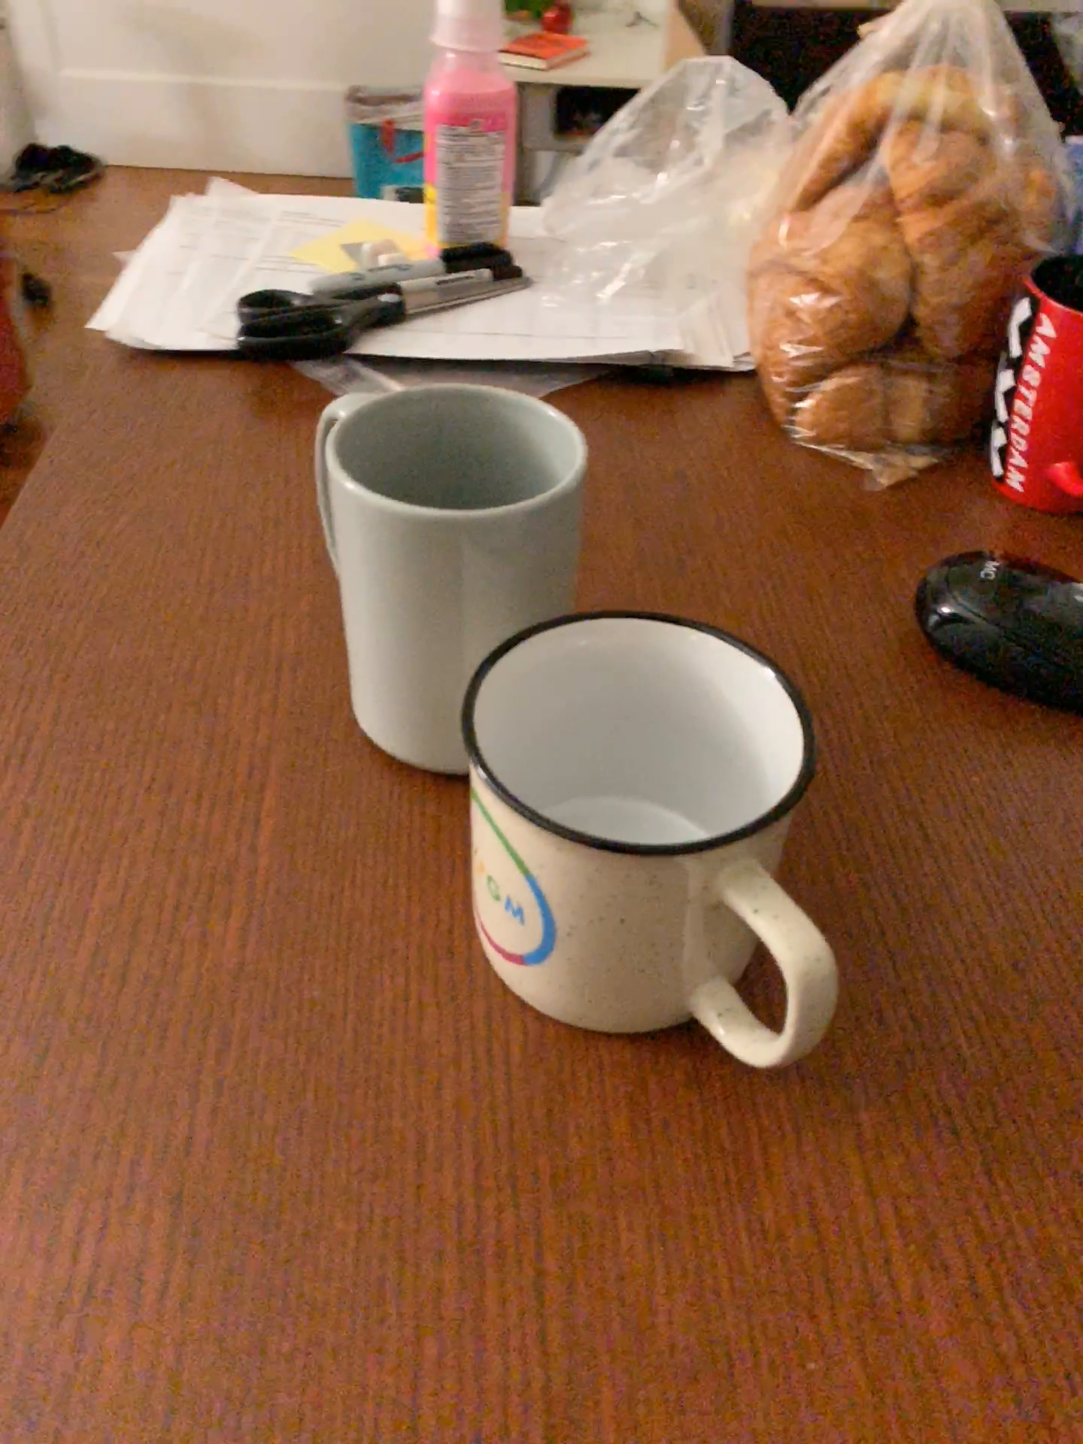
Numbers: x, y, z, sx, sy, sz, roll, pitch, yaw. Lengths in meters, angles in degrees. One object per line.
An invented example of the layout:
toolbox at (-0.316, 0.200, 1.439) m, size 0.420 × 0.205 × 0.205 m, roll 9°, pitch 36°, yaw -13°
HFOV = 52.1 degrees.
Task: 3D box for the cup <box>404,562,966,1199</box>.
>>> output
cup at (0.028, 0.039, 0.323) m, size 0.100 × 0.099 × 0.131 m, roll -12°, pitch 45°, yaw -16°

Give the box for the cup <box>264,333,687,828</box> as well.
cup at (-0.030, -0.057, 0.398) m, size 0.100 × 0.099 × 0.141 m, roll -13°, pitch 45°, yaw -17°
